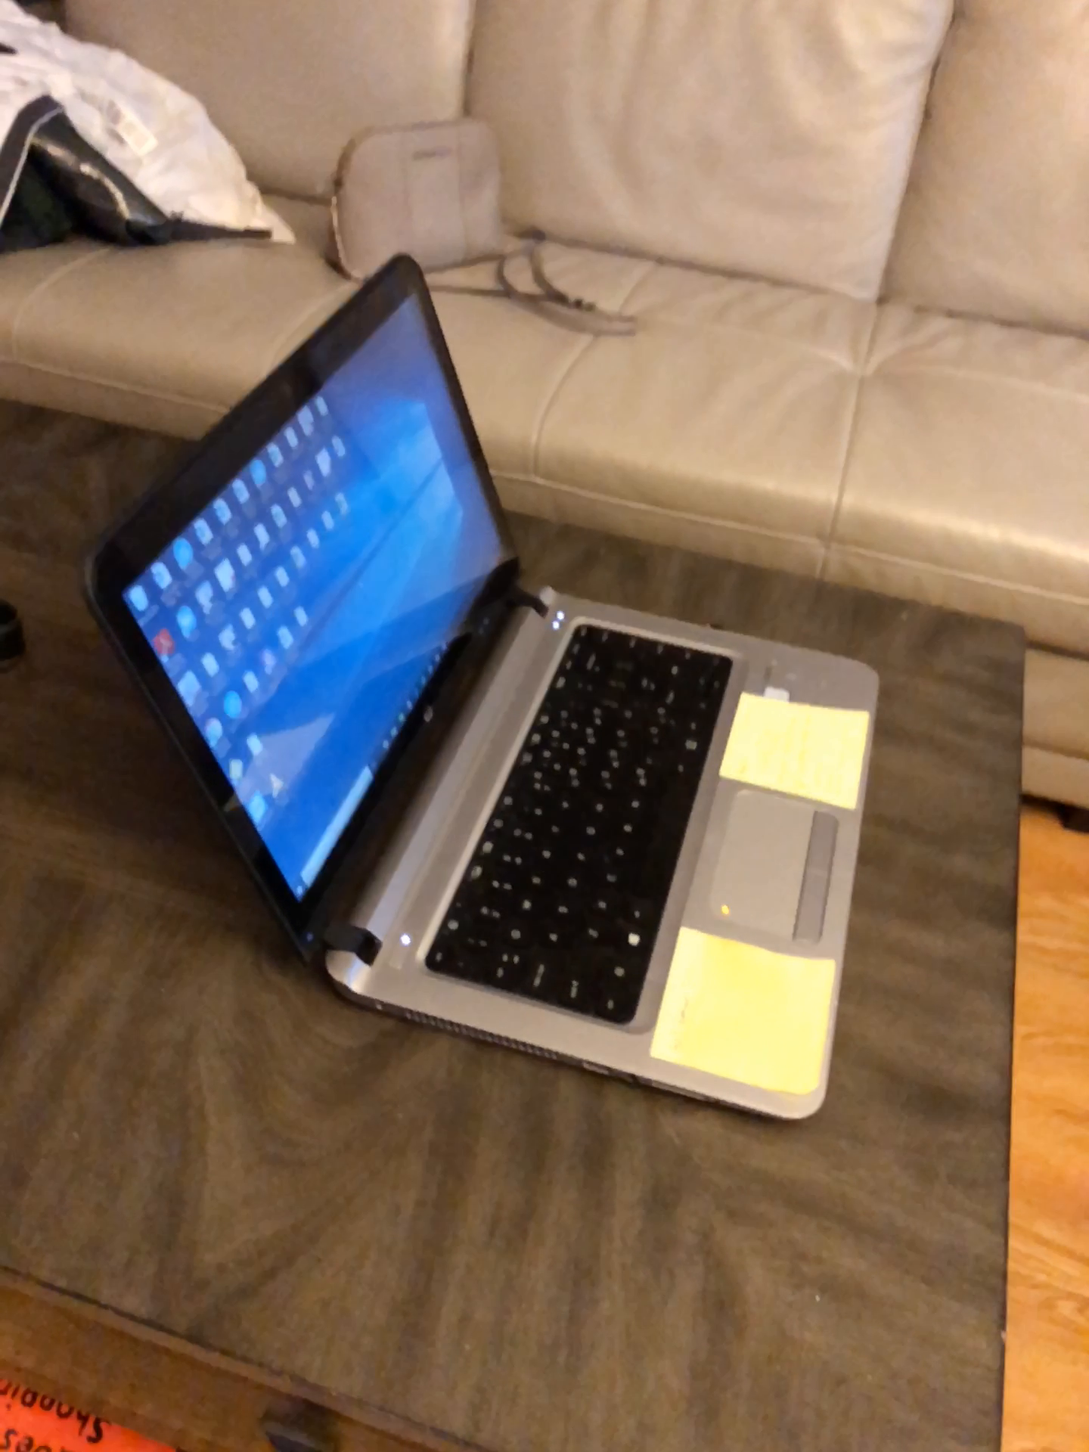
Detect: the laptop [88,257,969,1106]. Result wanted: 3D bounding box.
[{"bbox_3d":[0.020,-0.048,0.600,0.306,0.208,0.321,14,43,10],"label":"laptop"}]
